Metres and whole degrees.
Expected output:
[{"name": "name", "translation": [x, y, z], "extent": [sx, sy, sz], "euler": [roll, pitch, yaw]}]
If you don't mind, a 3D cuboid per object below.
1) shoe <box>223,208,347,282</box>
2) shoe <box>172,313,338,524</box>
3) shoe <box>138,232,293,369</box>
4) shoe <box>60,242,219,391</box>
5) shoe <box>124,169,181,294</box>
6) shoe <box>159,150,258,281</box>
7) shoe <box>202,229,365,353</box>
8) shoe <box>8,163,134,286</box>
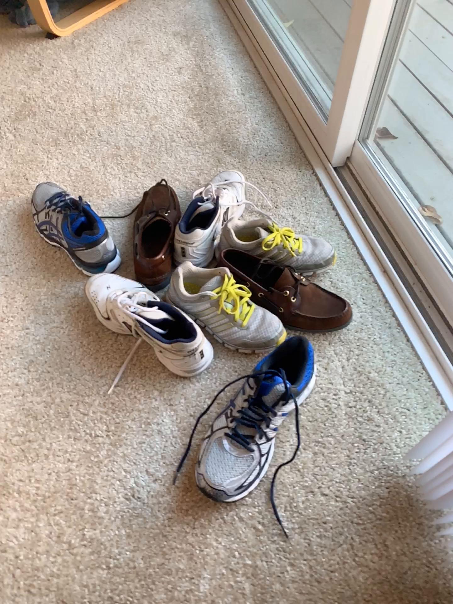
[{"name": "shoe", "translation": [0.116, -0.114, 0.910], "extent": [0.230, 0.060, 0.100], "euler": [9, 54, 4]}, {"name": "shoe", "translation": [0.051, 0.174, 0.723], "extent": [0.110, 0.110, 0.291], "euler": [29, 59, 19]}, {"name": "shoe", "translation": [-0.022, -0.006, 0.786], "extent": [0.241, 0.090, 0.100], "euler": [30, 58, 18]}, {"name": "shoe", "translation": [-0.152, 0.021, 0.812], "extent": [0.281, 0.110, 0.090], "euler": [32, 59, 22]}, {"name": "shoe", "translation": [-0.154, -0.159, 0.996], "extent": [0.100, 0.110, 0.271], "euler": [-3, 52, -3]}, {"name": "shoe", "translation": [-0.031, -0.190, 0.978], "extent": [0.100, 0.110, 0.271], "euler": [19, 54, 12]}, {"name": "shoe", "translation": [0.100, -0.025, 0.865], "extent": [0.281, 0.080, 0.100], "euler": [27, 57, 16]}, {"name": "shoe", "translation": [-0.324, -0.168, 0.955], "extent": [0.110, 0.090, 0.271], "euler": [-36, 61, -24]}]
